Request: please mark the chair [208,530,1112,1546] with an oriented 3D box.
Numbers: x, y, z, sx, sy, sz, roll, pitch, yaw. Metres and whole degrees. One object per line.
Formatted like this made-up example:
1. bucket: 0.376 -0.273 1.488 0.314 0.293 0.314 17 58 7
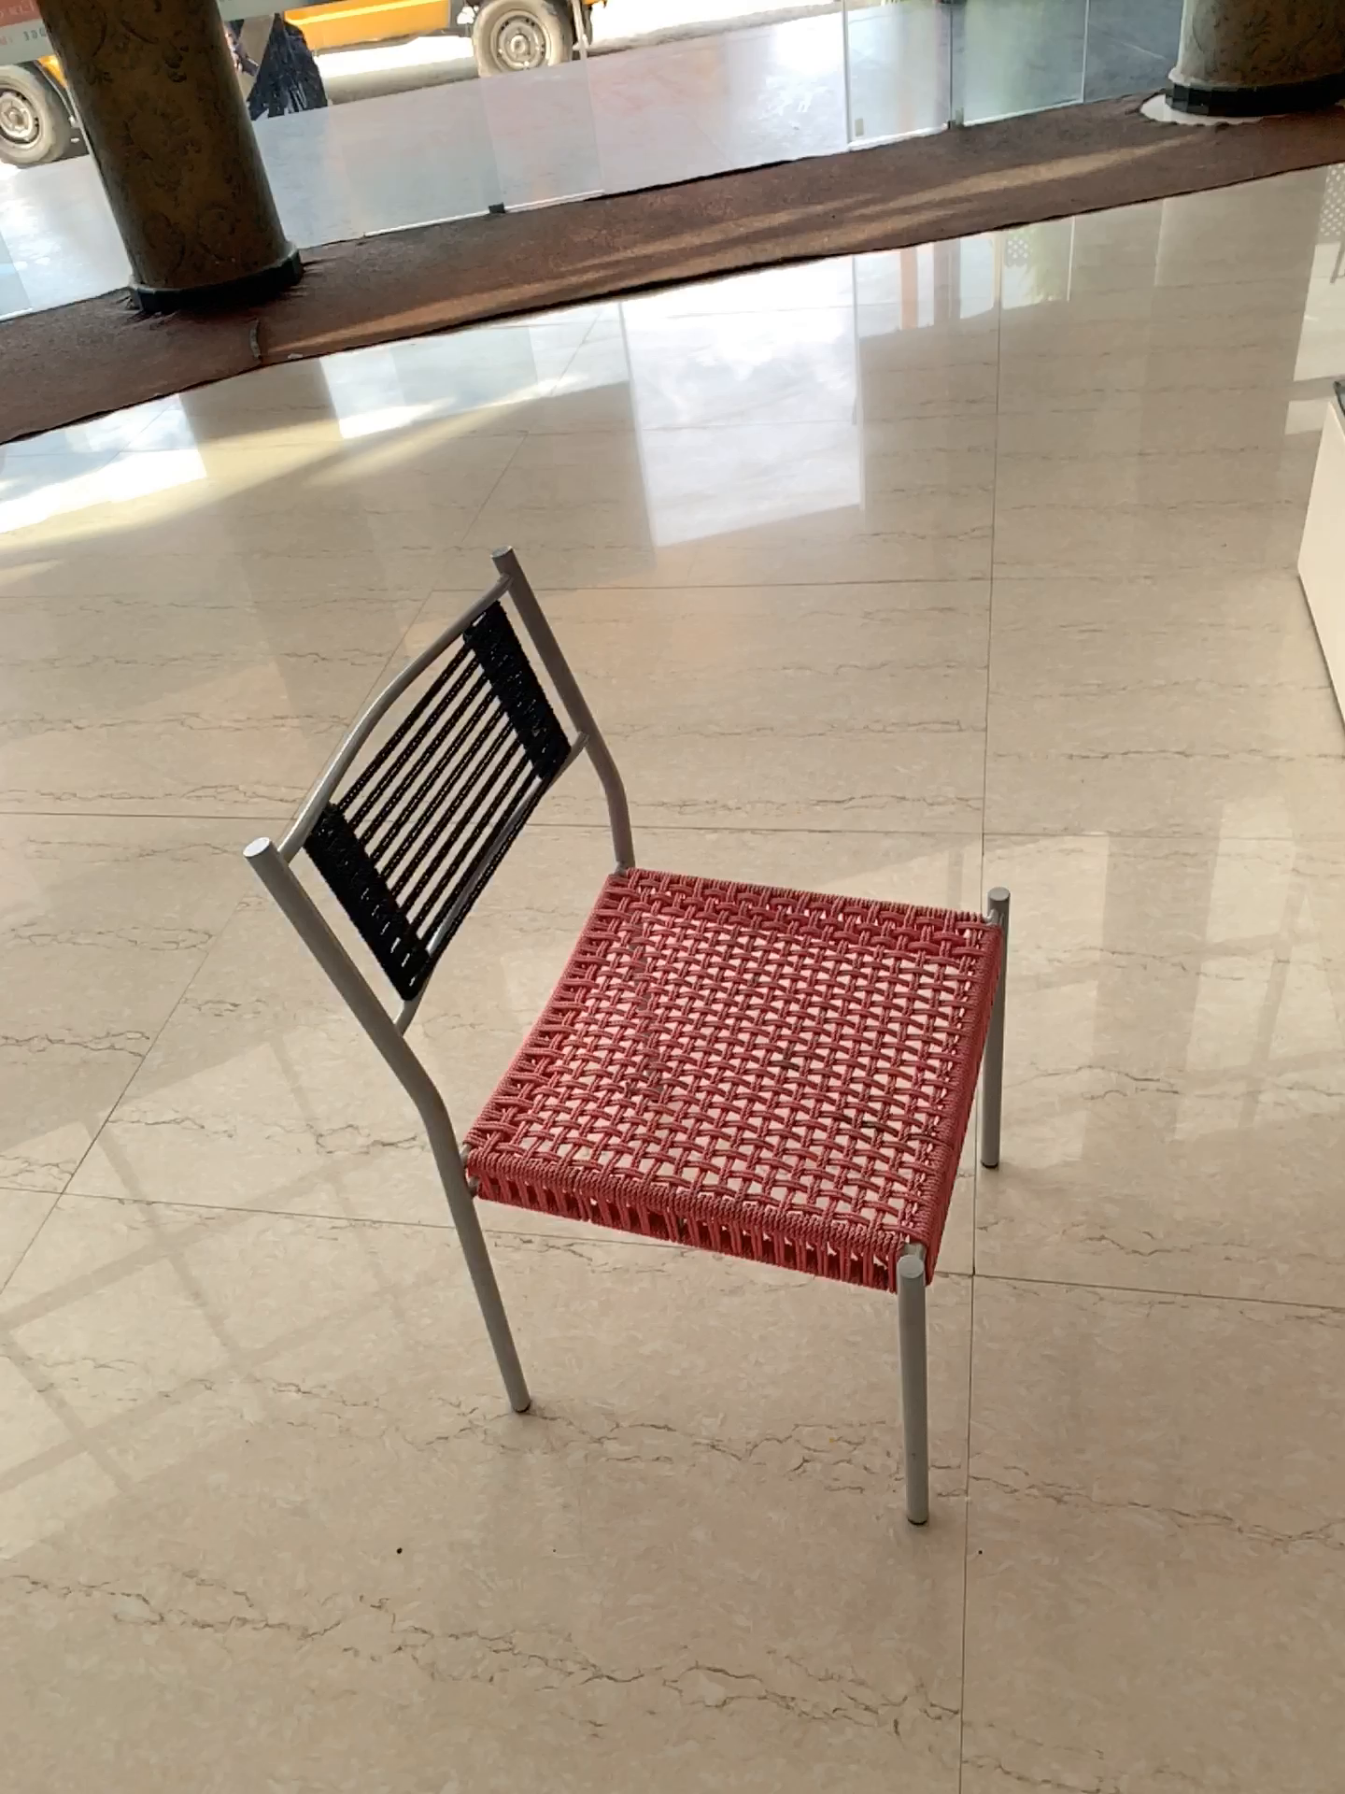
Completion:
1. chair: 0.068 0.120 1.315 0.581 0.734 0.534 6 43 18
